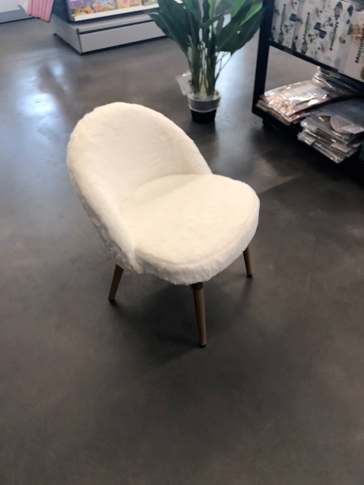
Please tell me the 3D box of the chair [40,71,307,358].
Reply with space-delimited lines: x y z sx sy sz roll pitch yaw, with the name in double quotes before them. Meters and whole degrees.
"chair" -0.009 -0.100 1.108 0.470 0.537 0.412 24 46 27
